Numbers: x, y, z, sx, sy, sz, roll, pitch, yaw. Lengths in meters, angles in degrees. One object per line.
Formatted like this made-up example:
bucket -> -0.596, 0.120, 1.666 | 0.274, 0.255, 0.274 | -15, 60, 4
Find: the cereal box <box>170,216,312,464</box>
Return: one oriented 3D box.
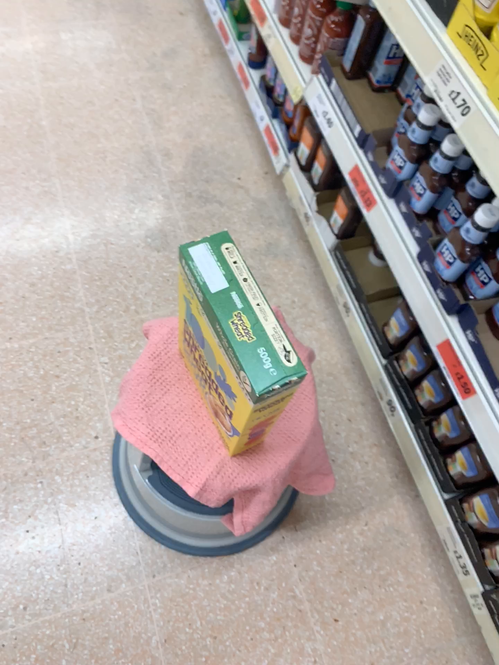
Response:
cereal box -> -0.029, 0.028, 0.662 | 0.070, 0.279, 0.211 | -19, 68, -16
